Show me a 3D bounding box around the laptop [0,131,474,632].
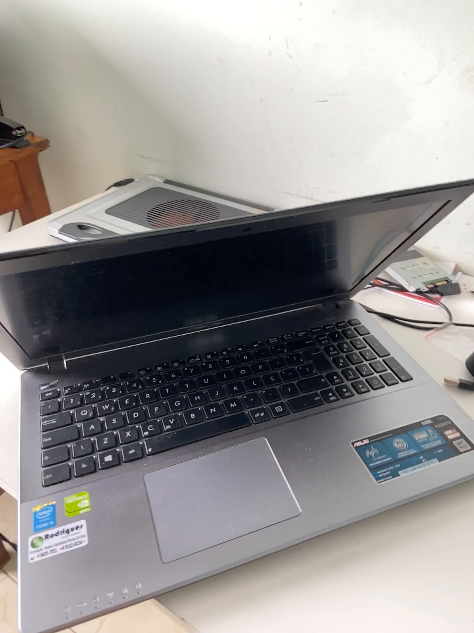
[{"bbox_3d":[-0.001,0.006,0.382,0.365,0.190,0.246,-12,38,-16],"label":"laptop"}]
